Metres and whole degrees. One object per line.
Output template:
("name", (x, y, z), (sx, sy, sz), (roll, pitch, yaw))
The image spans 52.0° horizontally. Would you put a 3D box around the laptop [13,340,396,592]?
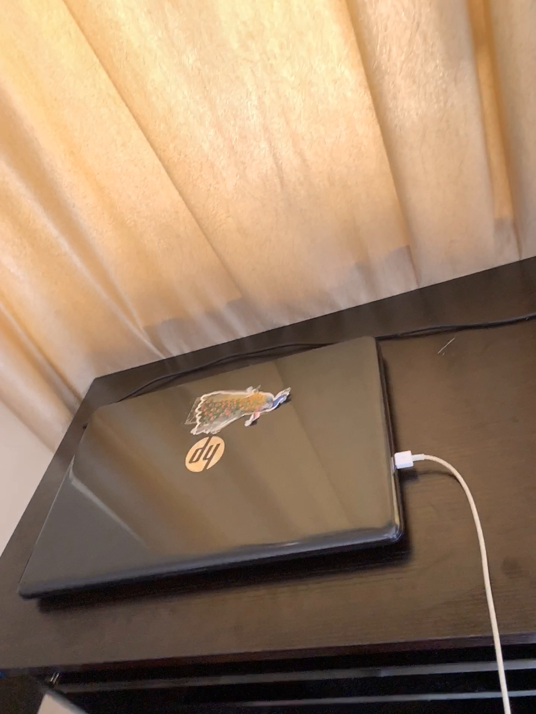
("laptop", (-0.066, 0.106, 0.564), (0.373, 0.006, 0.238), (-15, 36, 19))
